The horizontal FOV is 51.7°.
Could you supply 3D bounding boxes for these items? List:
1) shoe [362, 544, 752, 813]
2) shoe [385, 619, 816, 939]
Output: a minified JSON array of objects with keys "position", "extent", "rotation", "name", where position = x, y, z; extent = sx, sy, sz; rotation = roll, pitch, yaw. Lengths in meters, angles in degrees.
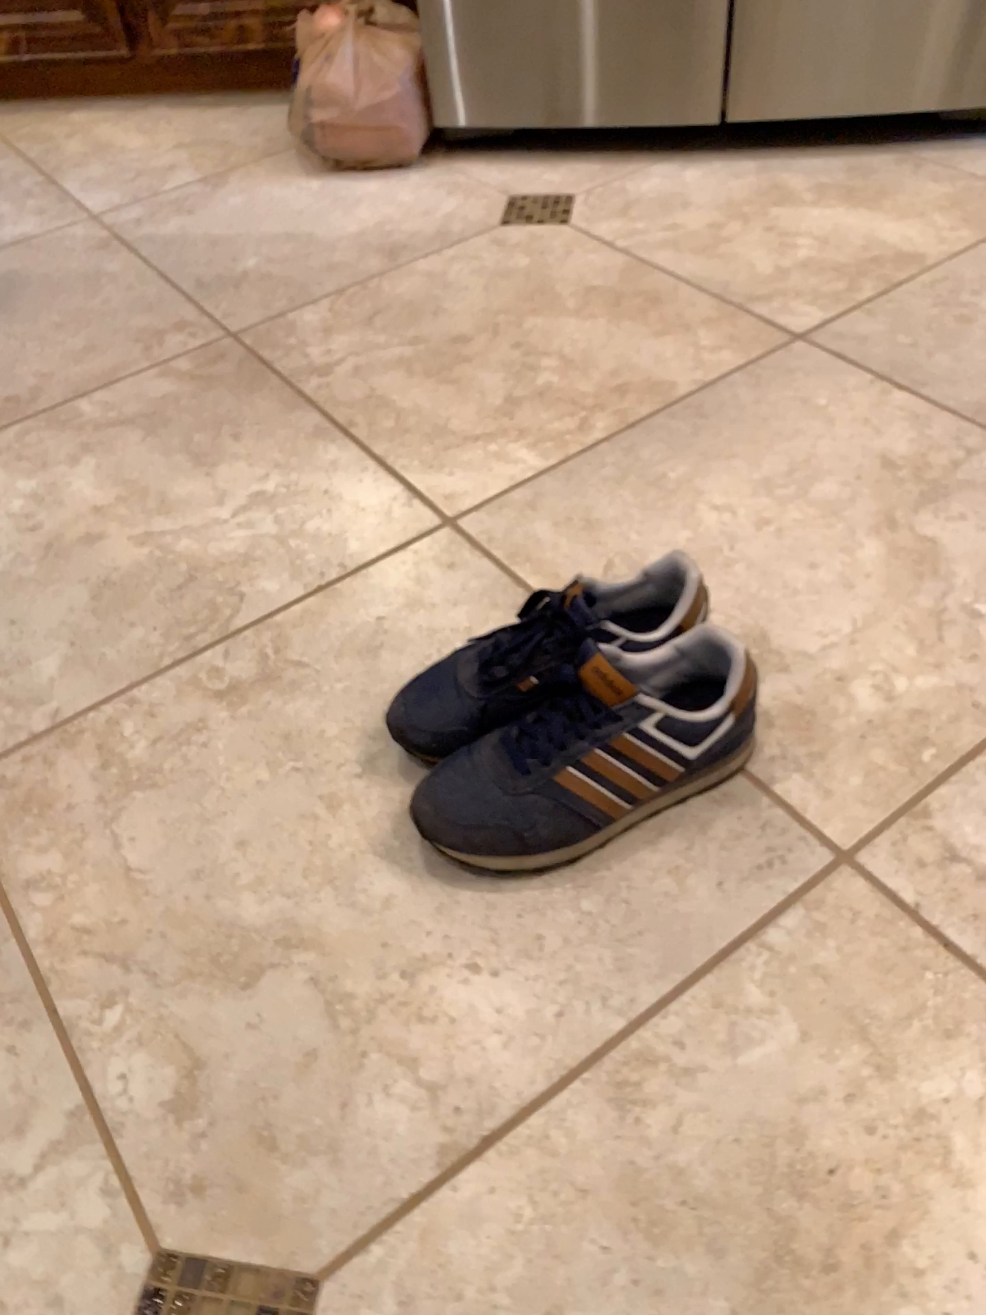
[{"position":[0.051,0.014,0.825],"extent":[0.282,0.102,0.107],"rotation":[-16,47,-8],"name":"shoe"},{"position":[0.078,0.086,0.756],"extent":[0.282,0.102,0.112],"rotation":[-19,47,-11],"name":"shoe"}]
